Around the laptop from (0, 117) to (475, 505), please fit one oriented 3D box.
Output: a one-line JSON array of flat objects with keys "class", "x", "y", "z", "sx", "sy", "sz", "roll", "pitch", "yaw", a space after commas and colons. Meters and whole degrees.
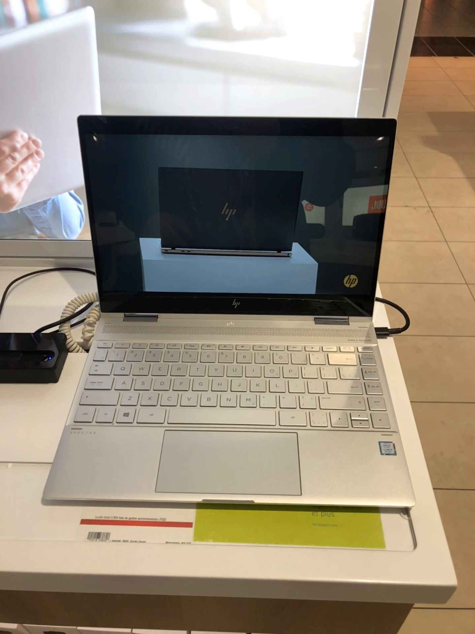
[{"class": "laptop", "x": -0.003, "y": -0.021, "z": 0.458, "sx": 0.299, "sy": 0.193, "sz": 0.283, "roll": 1, "pitch": 43, "yaw": 2}]
